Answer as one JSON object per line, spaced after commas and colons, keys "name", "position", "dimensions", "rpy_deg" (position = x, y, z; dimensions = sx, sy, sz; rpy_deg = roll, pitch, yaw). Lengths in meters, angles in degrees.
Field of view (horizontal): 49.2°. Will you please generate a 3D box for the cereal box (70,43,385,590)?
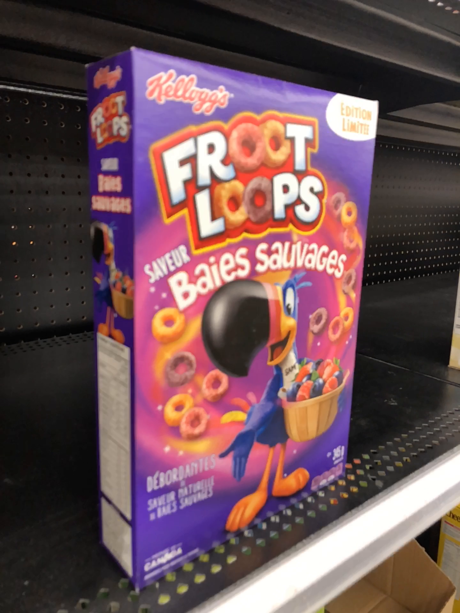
{"name": "cereal box", "position": [0.009, 0.004, 0.342], "dimensions": [0.210, 0.289, 0.050], "rpy_deg": [-9, 16, -38]}
